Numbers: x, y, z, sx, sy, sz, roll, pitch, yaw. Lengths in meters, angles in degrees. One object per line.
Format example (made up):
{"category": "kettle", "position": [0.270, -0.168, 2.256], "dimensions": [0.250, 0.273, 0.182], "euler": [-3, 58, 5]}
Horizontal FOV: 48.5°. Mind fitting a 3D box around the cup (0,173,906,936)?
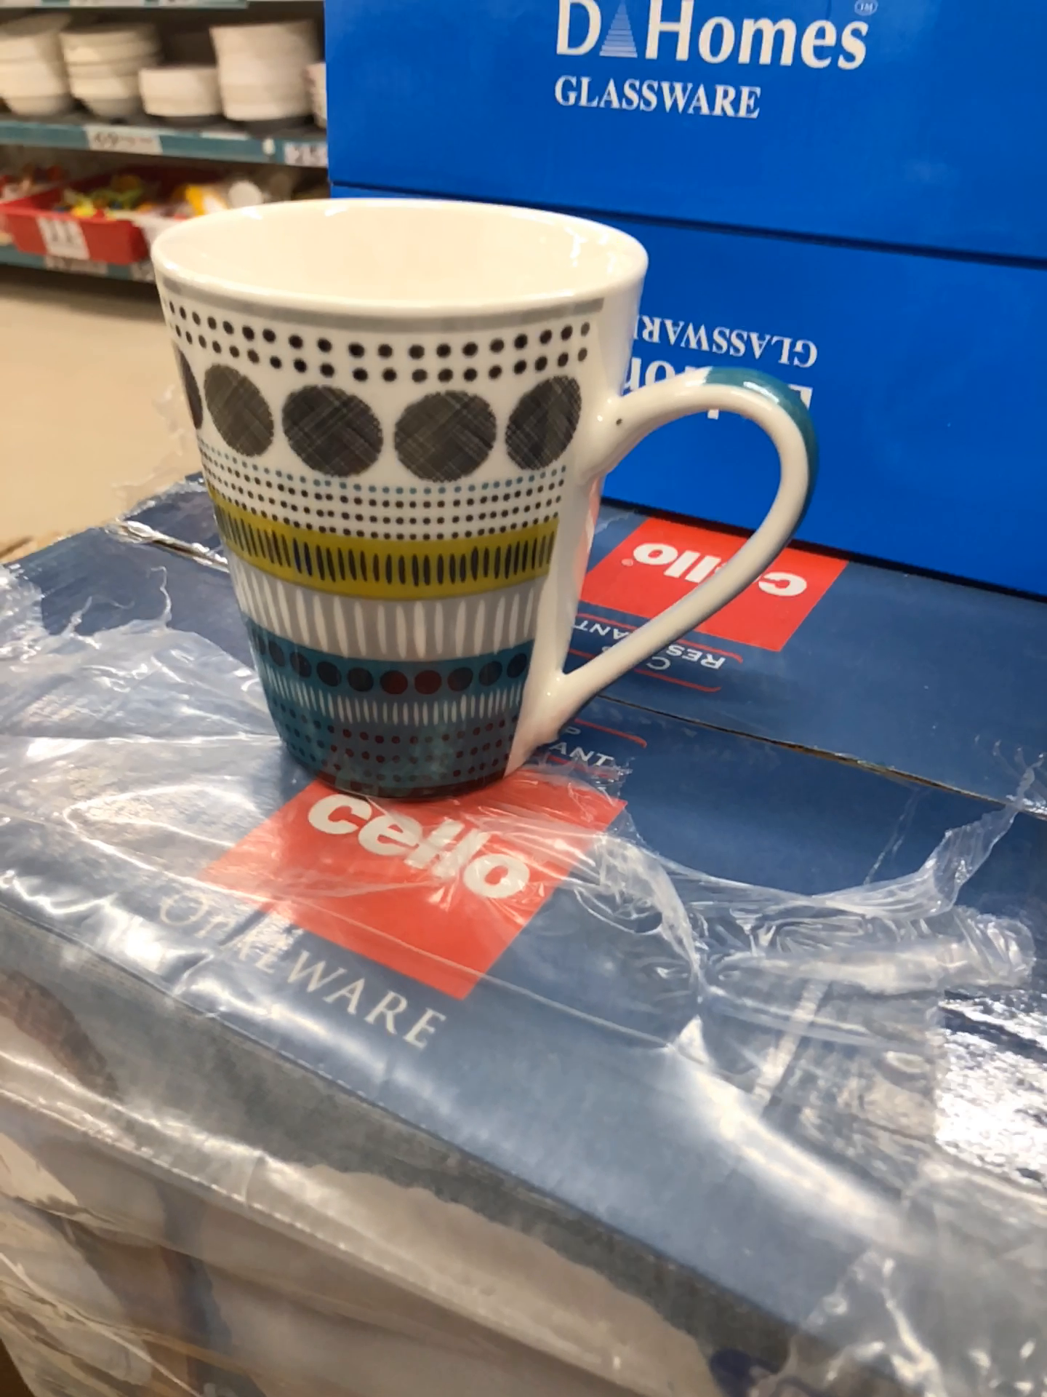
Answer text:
{"category": "cup", "position": [-0.006, -0.036, 0.212], "dimensions": [0.120, 0.089, 0.091], "euler": [13, 36, 21]}
